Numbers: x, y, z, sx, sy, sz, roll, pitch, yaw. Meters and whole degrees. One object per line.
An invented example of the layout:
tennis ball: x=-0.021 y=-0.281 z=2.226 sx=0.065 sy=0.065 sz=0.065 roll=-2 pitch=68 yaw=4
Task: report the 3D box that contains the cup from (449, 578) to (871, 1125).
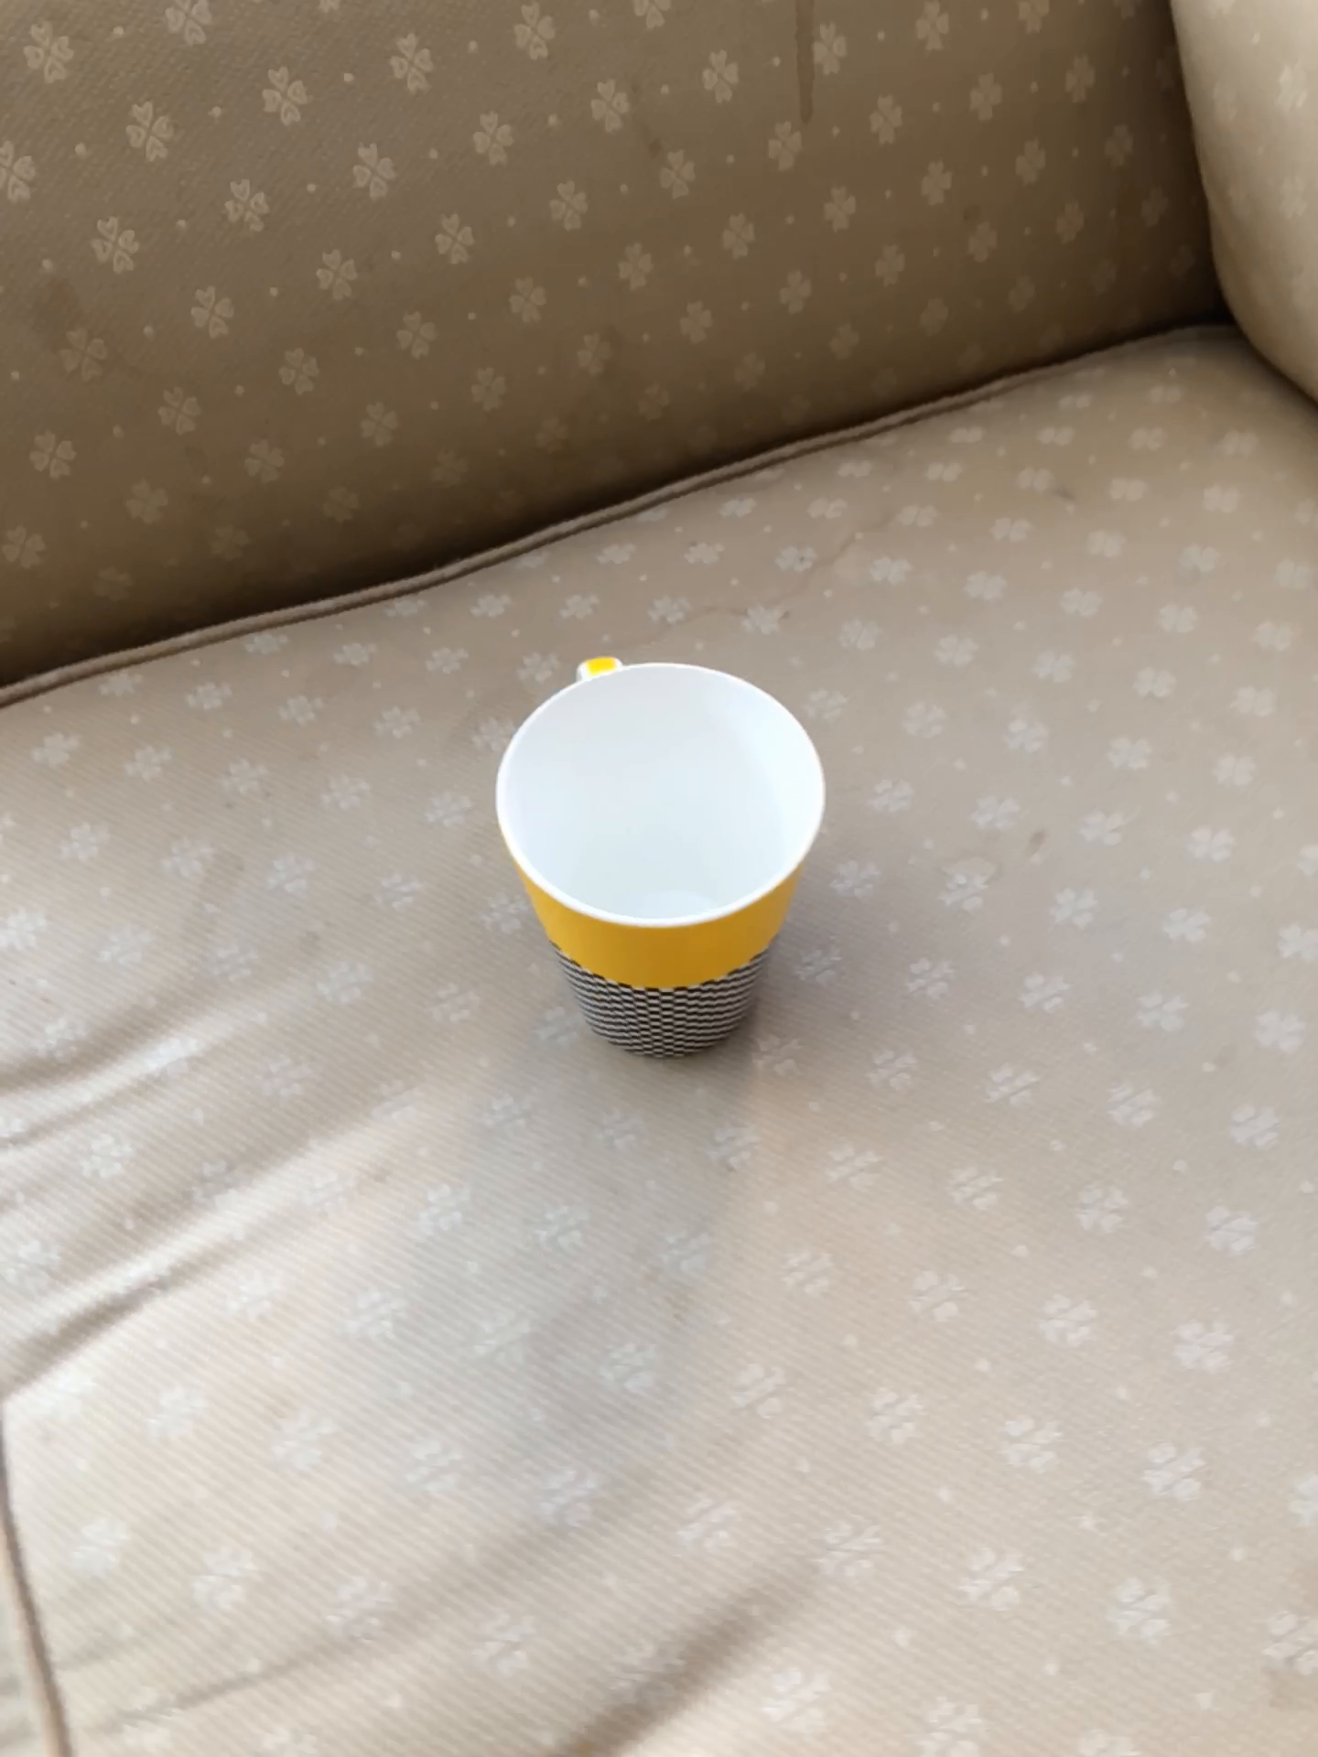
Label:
cup: x=-0.002 y=-0.007 z=0.423 sx=0.087 sy=0.090 sz=0.112 roll=-12 pitch=58 yaw=-6
